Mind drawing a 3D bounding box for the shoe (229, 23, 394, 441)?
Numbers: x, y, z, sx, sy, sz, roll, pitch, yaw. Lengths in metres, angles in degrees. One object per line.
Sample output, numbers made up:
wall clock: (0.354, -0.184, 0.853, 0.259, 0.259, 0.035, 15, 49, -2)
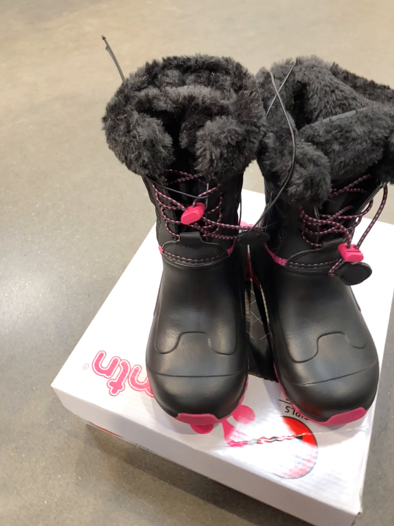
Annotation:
shoe: (0.100, -0.016, 0.344, 0.110, 0.229, 0.221, -6, 51, -3)

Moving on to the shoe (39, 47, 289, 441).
shoe: (-0.007, -0.010, 0.342, 0.110, 0.209, 0.221, 1, 51, 3)
